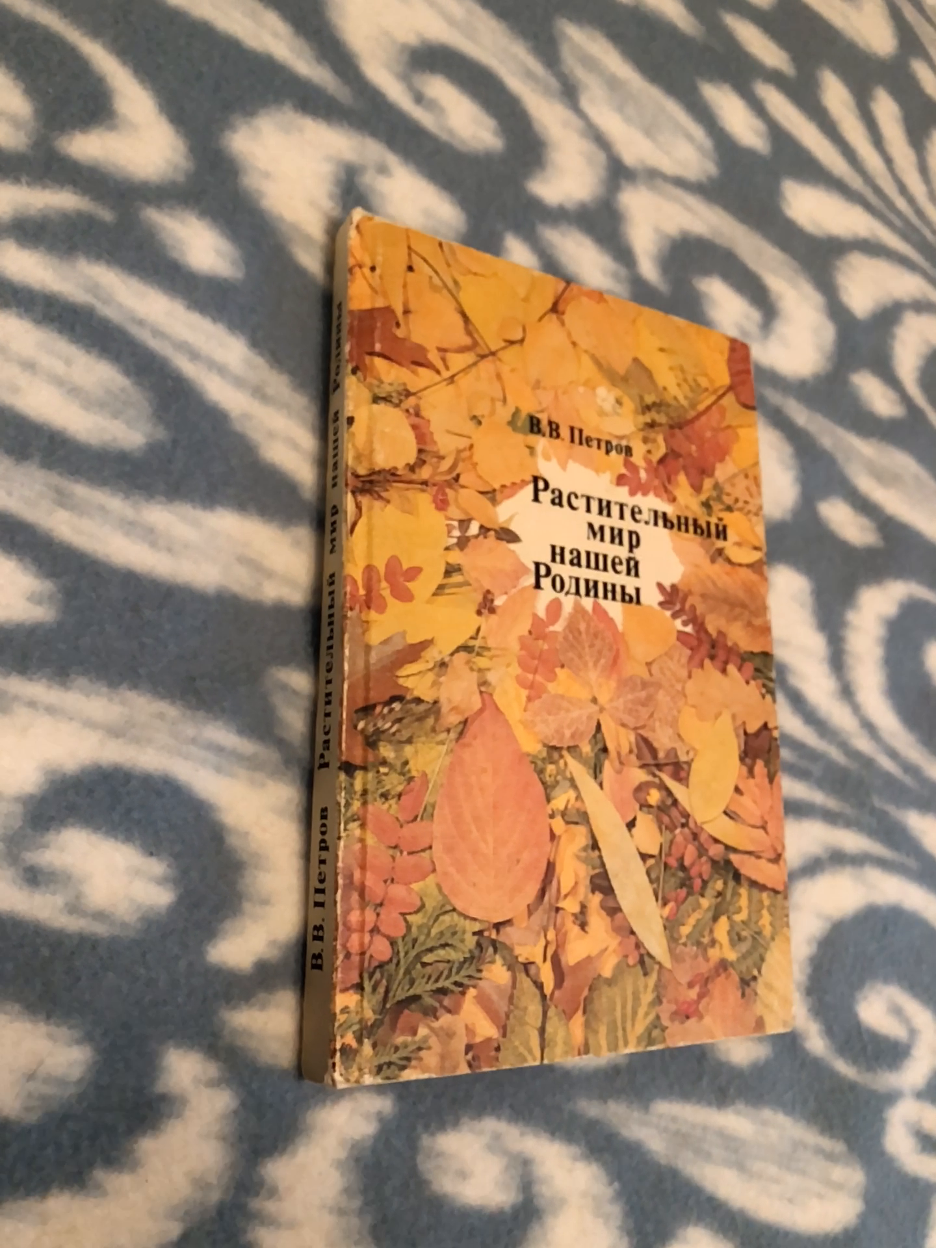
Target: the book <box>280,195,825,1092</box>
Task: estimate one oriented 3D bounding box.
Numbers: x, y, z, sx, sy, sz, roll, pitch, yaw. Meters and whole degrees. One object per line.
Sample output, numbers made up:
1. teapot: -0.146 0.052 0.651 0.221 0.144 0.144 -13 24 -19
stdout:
1. book: 0.030 0.005 0.287 0.157 0.020 0.208 8 75 -32
